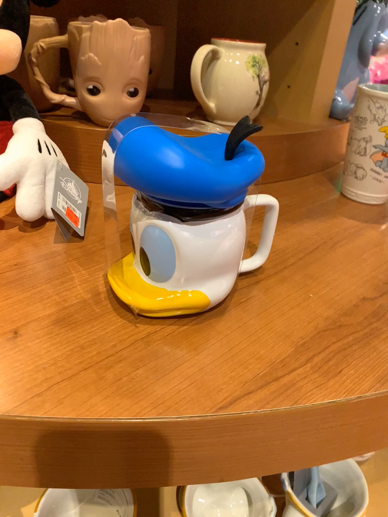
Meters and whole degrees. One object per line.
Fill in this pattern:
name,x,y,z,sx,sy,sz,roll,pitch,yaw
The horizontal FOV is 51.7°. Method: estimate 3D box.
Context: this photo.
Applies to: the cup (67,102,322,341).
cup,-0.005,-0.039,0.317,0.150,0.132,0.106,-13,36,-21
